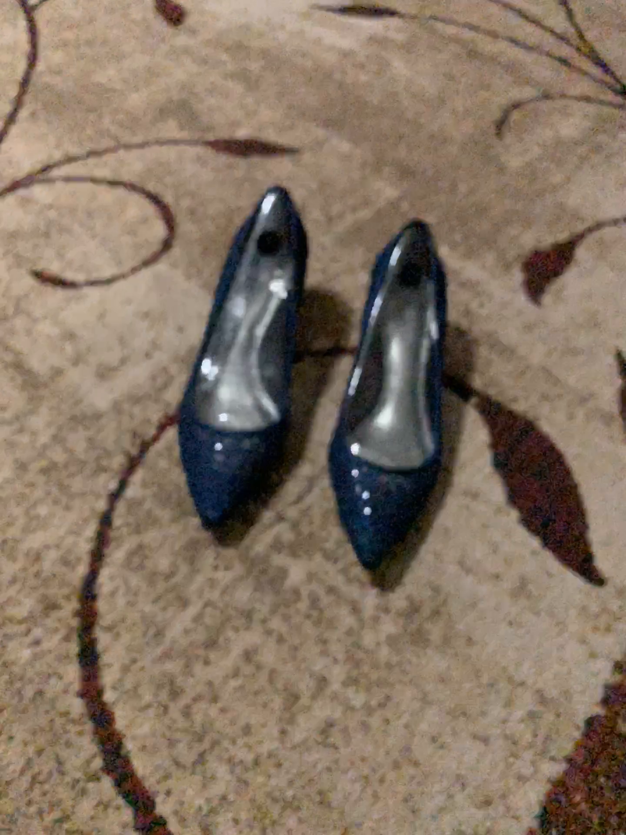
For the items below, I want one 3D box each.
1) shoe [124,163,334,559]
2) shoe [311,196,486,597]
[{"bbox_3d":[-0.048,-0.056,0.486,0.088,0.088,0.295,9,54,-1],"label":"shoe"},{"bbox_3d":[0.063,-0.029,0.477,0.088,0.088,0.286,9,54,-1],"label":"shoe"}]
